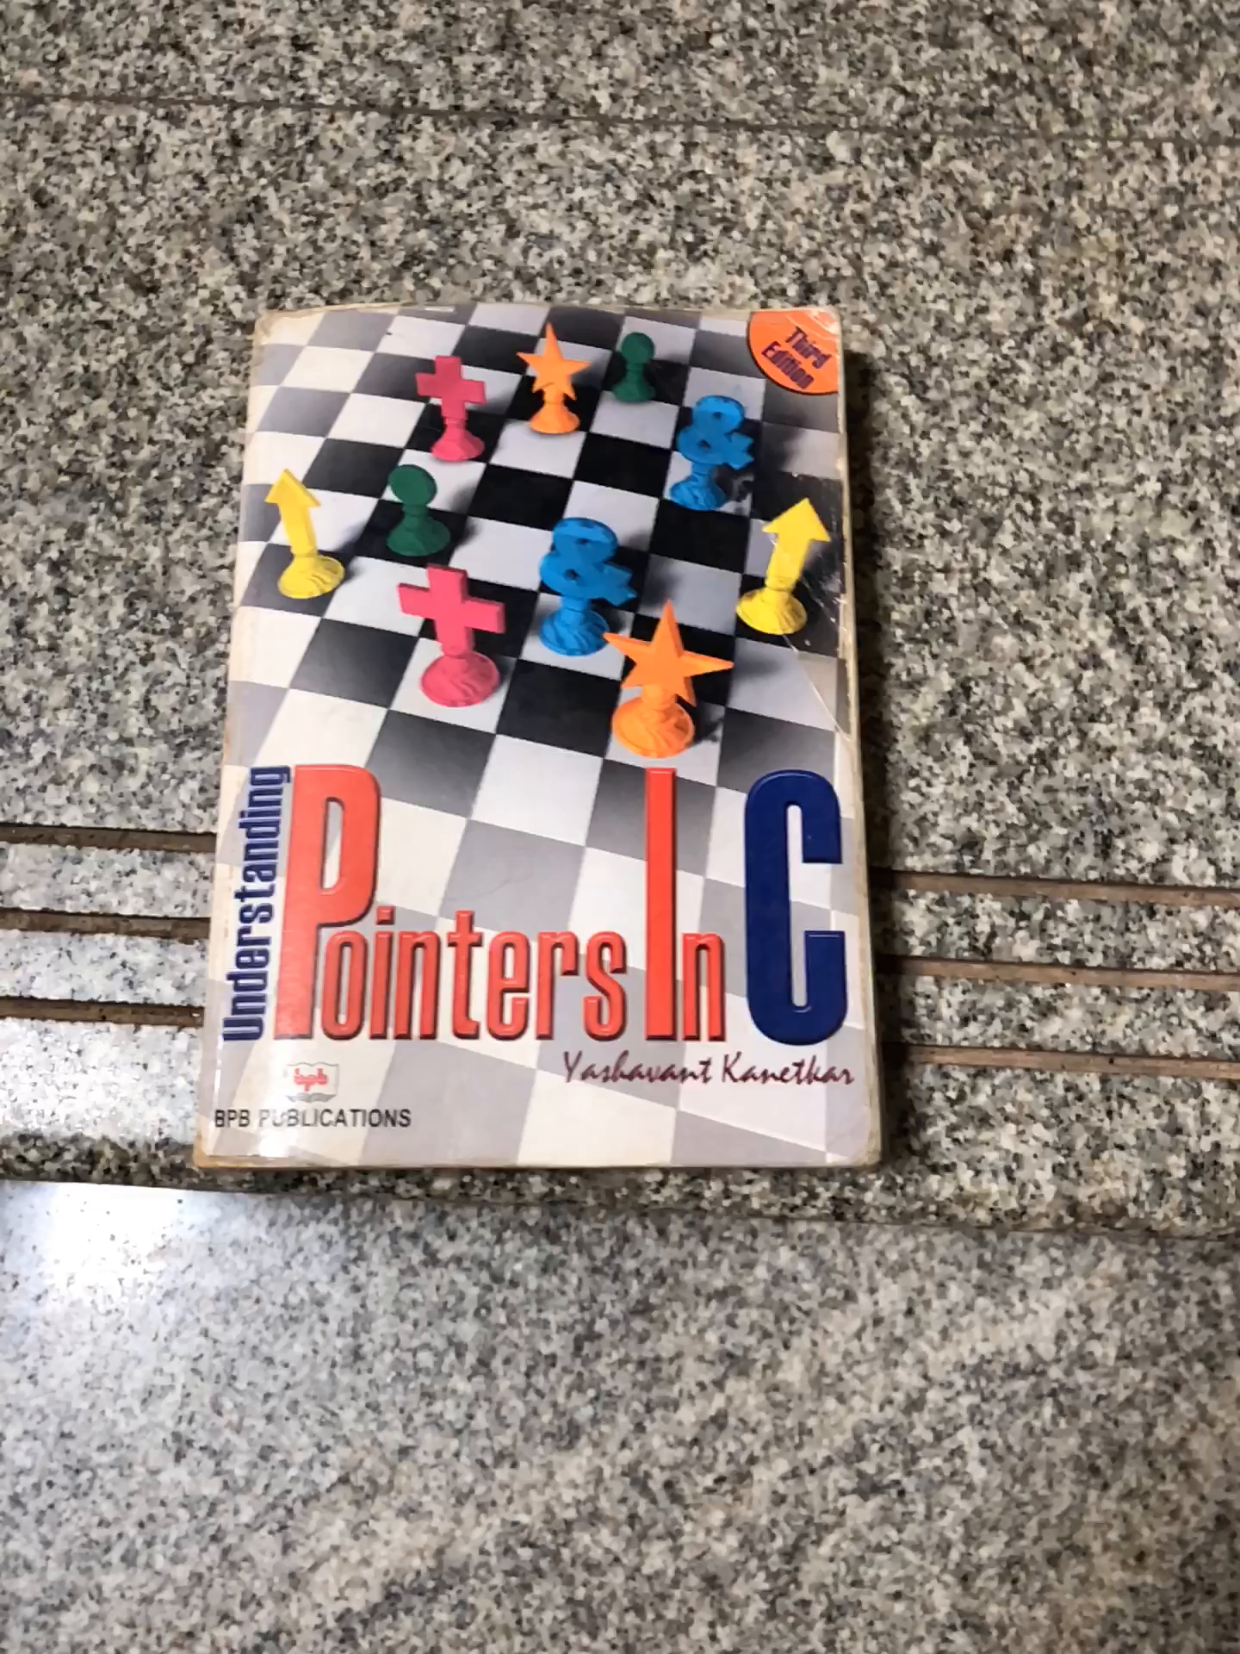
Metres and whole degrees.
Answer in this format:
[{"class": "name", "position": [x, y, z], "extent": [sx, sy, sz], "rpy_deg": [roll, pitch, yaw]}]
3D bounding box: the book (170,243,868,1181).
[{"class": "book", "position": [-0.020, -0.032, 0.320], "extent": [0.140, 0.030, 0.220], "rpy_deg": [0, 74, 1]}]
